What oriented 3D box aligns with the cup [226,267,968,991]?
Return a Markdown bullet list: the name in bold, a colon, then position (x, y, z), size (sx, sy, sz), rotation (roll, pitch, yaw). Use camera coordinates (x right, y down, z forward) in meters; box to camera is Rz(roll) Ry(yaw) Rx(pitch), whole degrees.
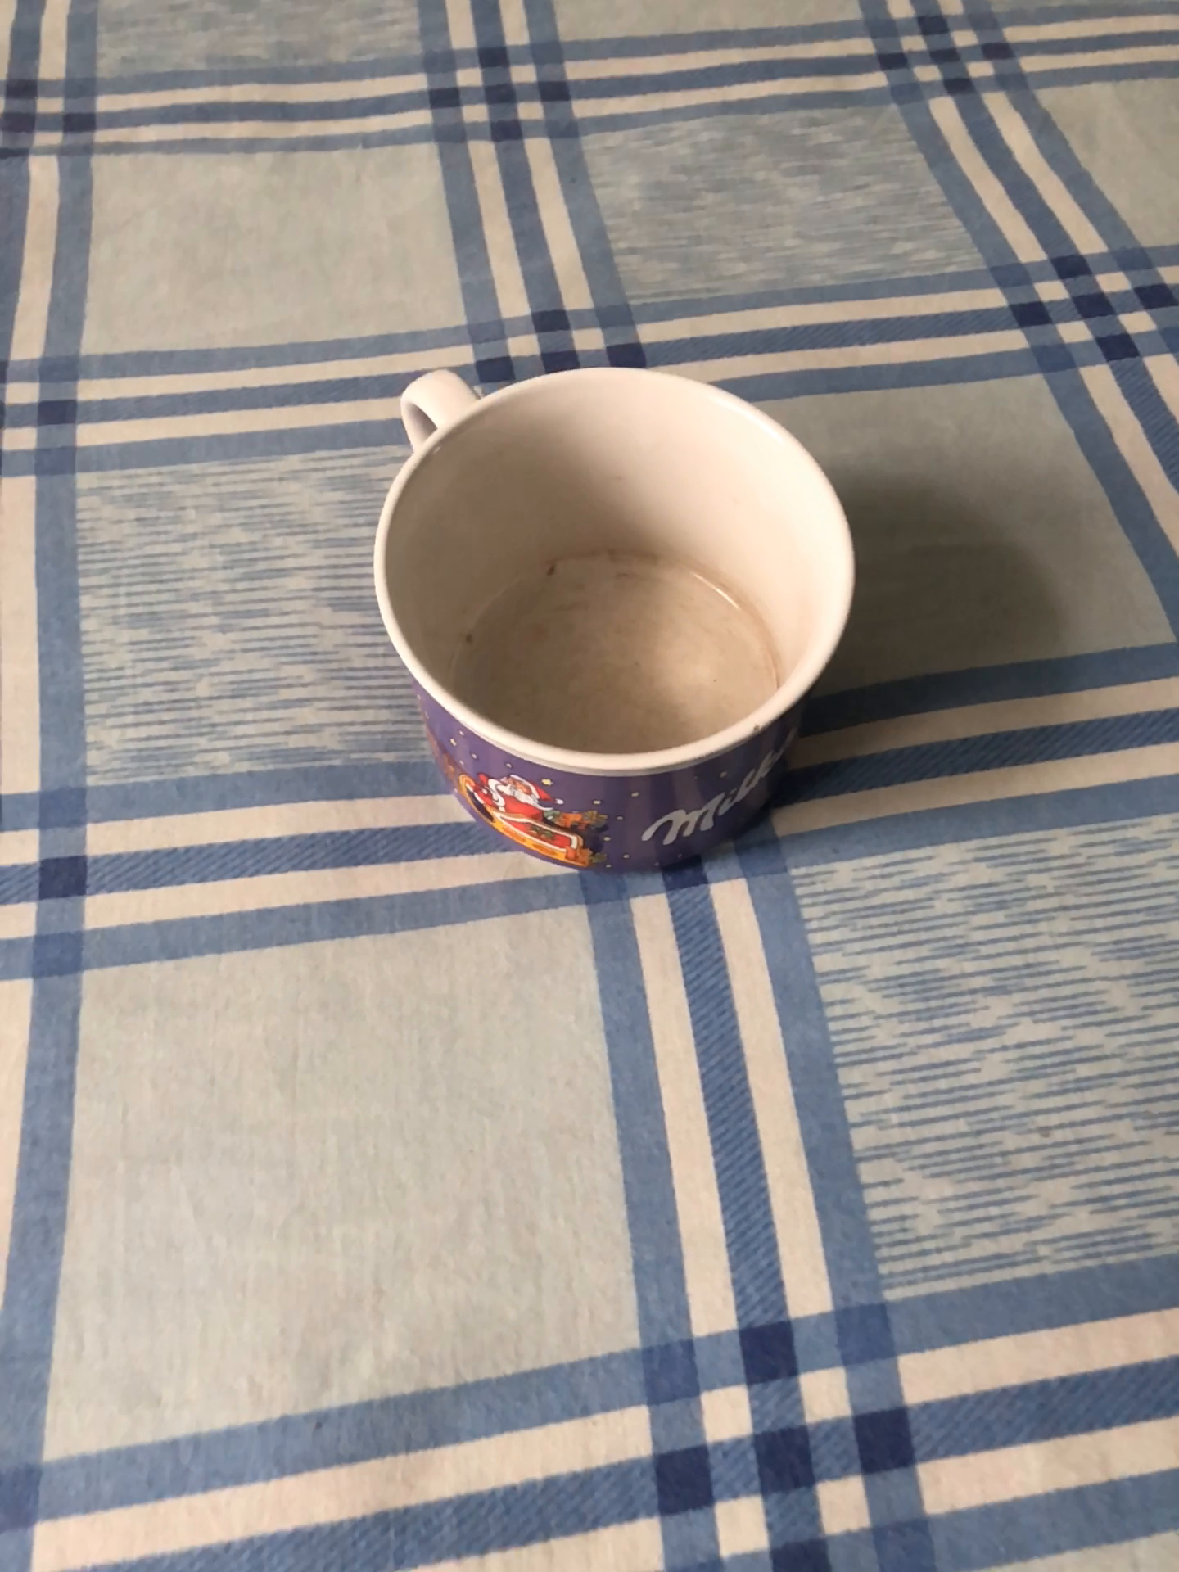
- **cup**: position (-0.002, -0.042, 0.312), size (0.104, 0.063, 0.130), rotation (-32, 65, -18)
